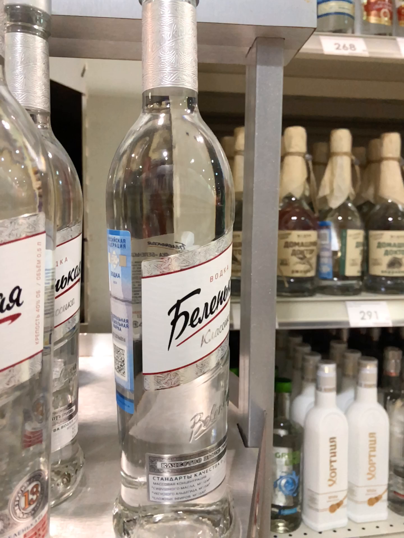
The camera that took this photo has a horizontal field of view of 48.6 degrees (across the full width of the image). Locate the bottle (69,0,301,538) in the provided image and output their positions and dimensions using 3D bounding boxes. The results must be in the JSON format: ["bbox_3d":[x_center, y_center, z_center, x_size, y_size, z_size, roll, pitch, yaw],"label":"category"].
[{"bbox_3d":[-0.008,-0.016,0.232,0.080,0.310,0.080,0,5,0],"label":"bottle"}]
